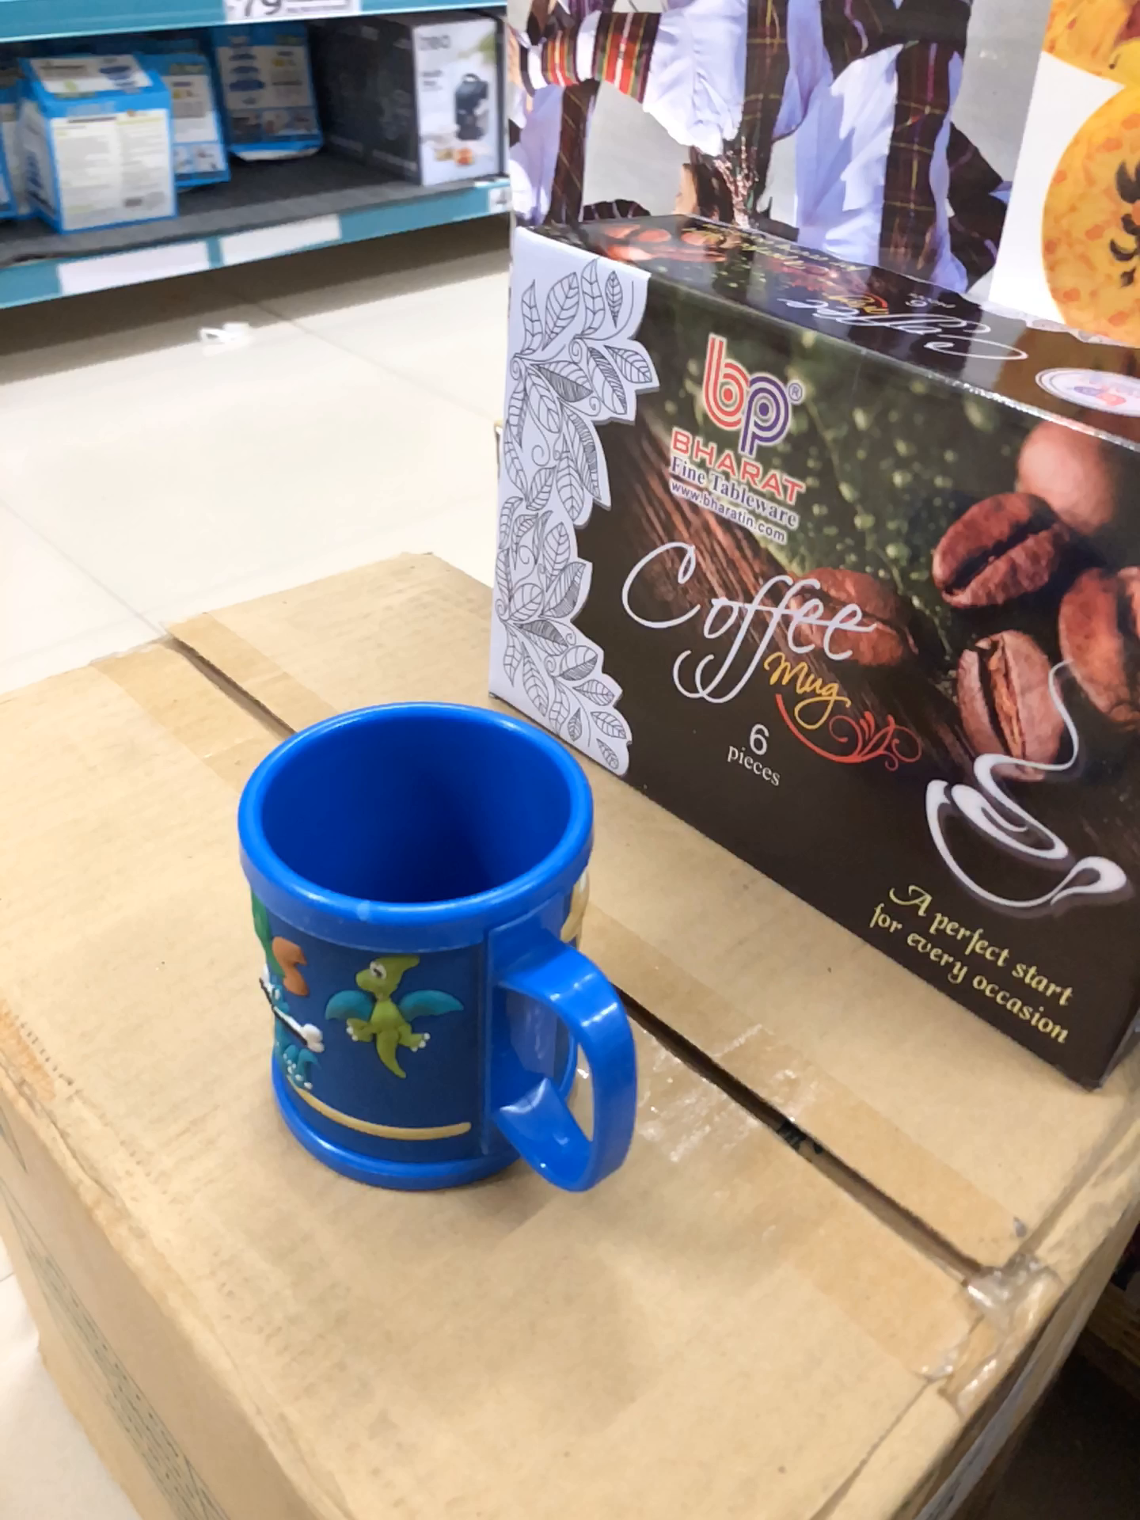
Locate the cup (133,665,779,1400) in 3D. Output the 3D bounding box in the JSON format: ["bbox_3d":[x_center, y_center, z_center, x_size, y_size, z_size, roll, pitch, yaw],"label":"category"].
[{"bbox_3d":[-0.030,0.055,0.303,0.090,0.089,0.120,-23,43,-31],"label":"cup"}]
